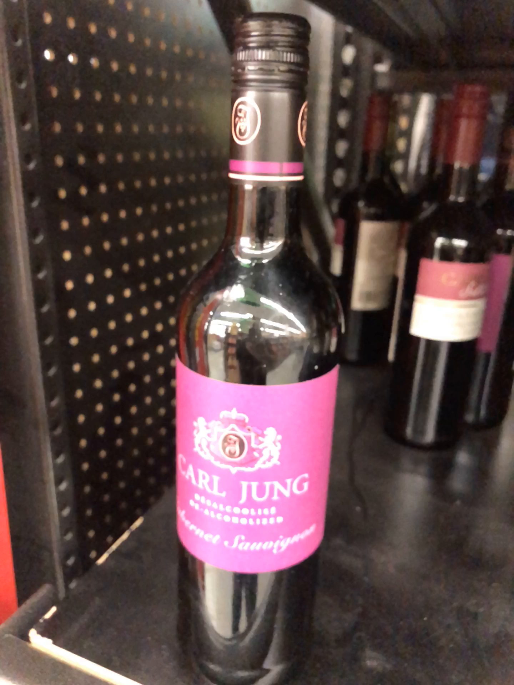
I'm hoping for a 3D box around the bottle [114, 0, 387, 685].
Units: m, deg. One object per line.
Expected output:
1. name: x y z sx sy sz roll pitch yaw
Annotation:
1. bottle: 0.000 0.022 0.254 0.080 0.288 0.080 1 20 -1
